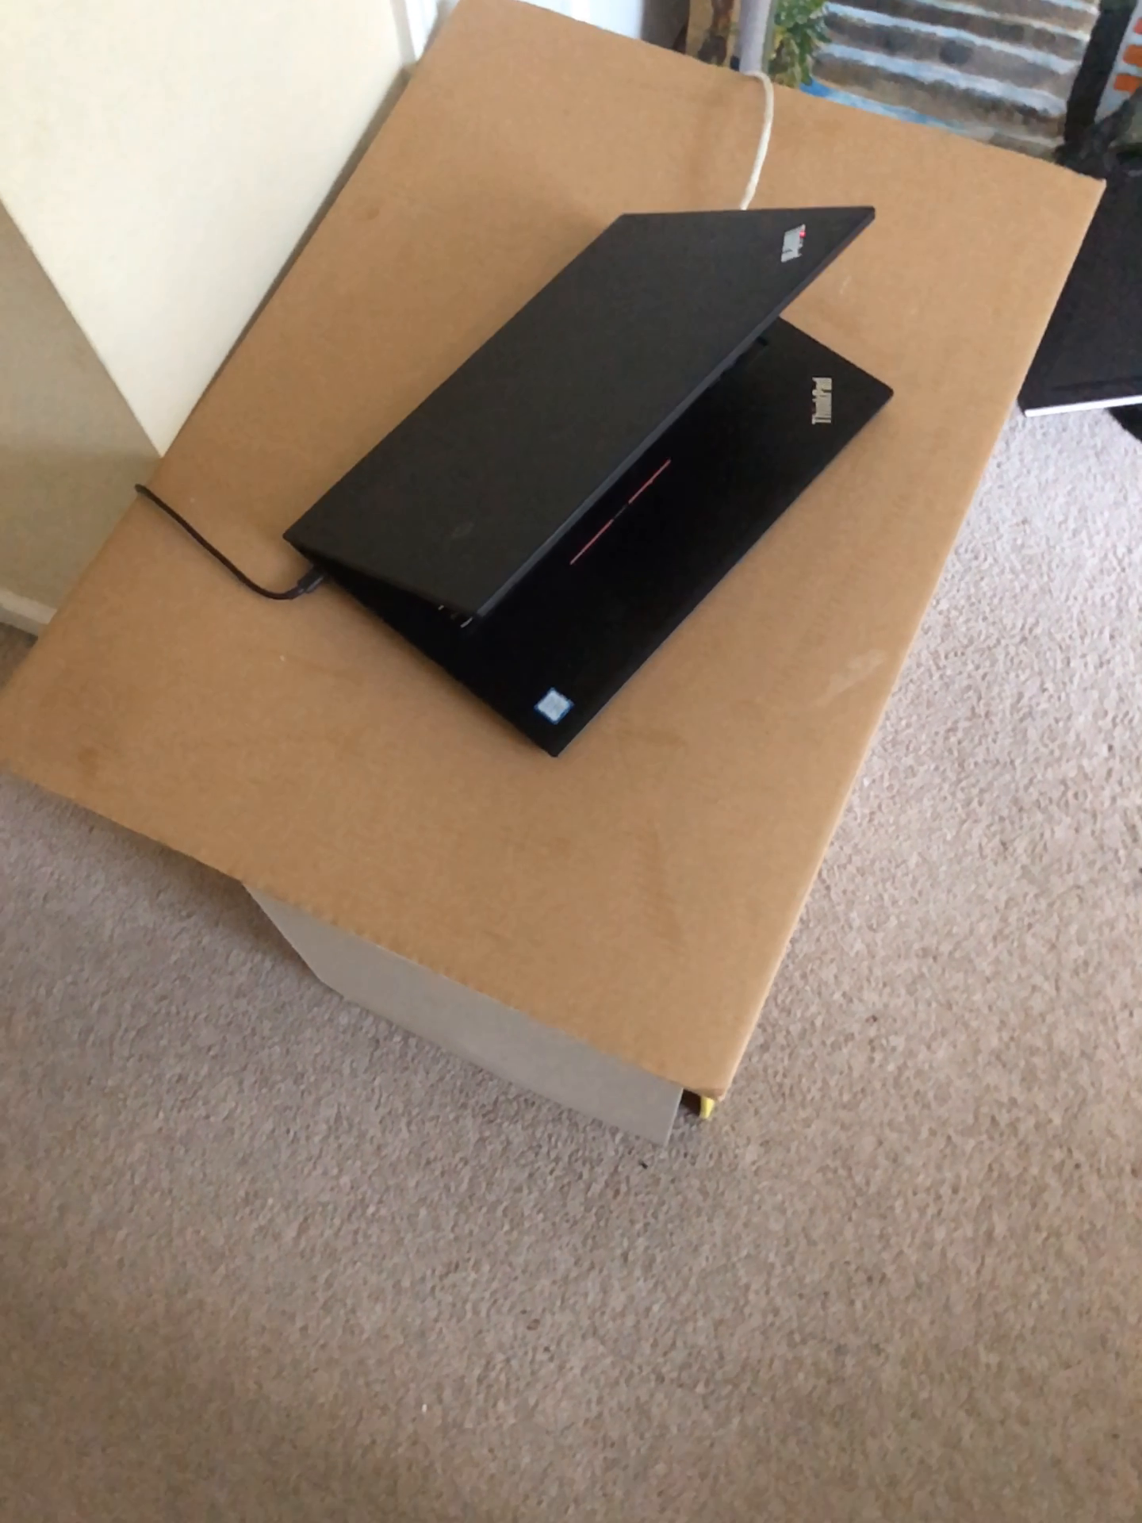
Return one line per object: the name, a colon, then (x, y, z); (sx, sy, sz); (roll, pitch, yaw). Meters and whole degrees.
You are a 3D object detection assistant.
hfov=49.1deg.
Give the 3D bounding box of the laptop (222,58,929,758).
laptop: (0.008, -0.216, 0.755); (0.231, 0.140, 0.334); (38, 75, 17)
